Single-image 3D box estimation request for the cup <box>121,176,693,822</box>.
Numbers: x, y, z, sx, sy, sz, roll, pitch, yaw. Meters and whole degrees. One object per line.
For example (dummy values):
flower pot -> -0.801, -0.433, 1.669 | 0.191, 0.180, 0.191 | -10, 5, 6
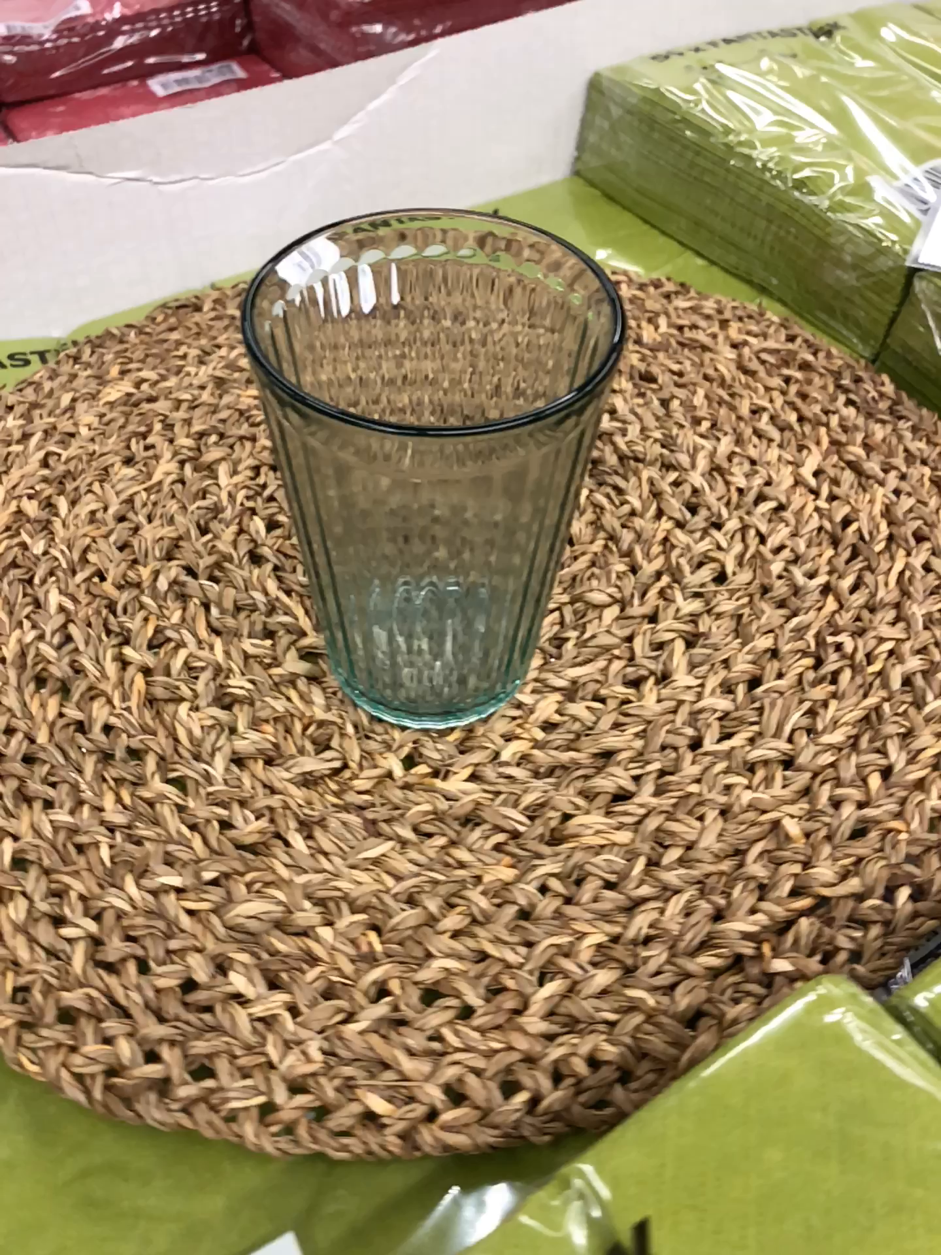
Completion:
cup -> -0.011, -0.030, 0.243 | 0.080, 0.100, 0.080 | 0, 47, 0
